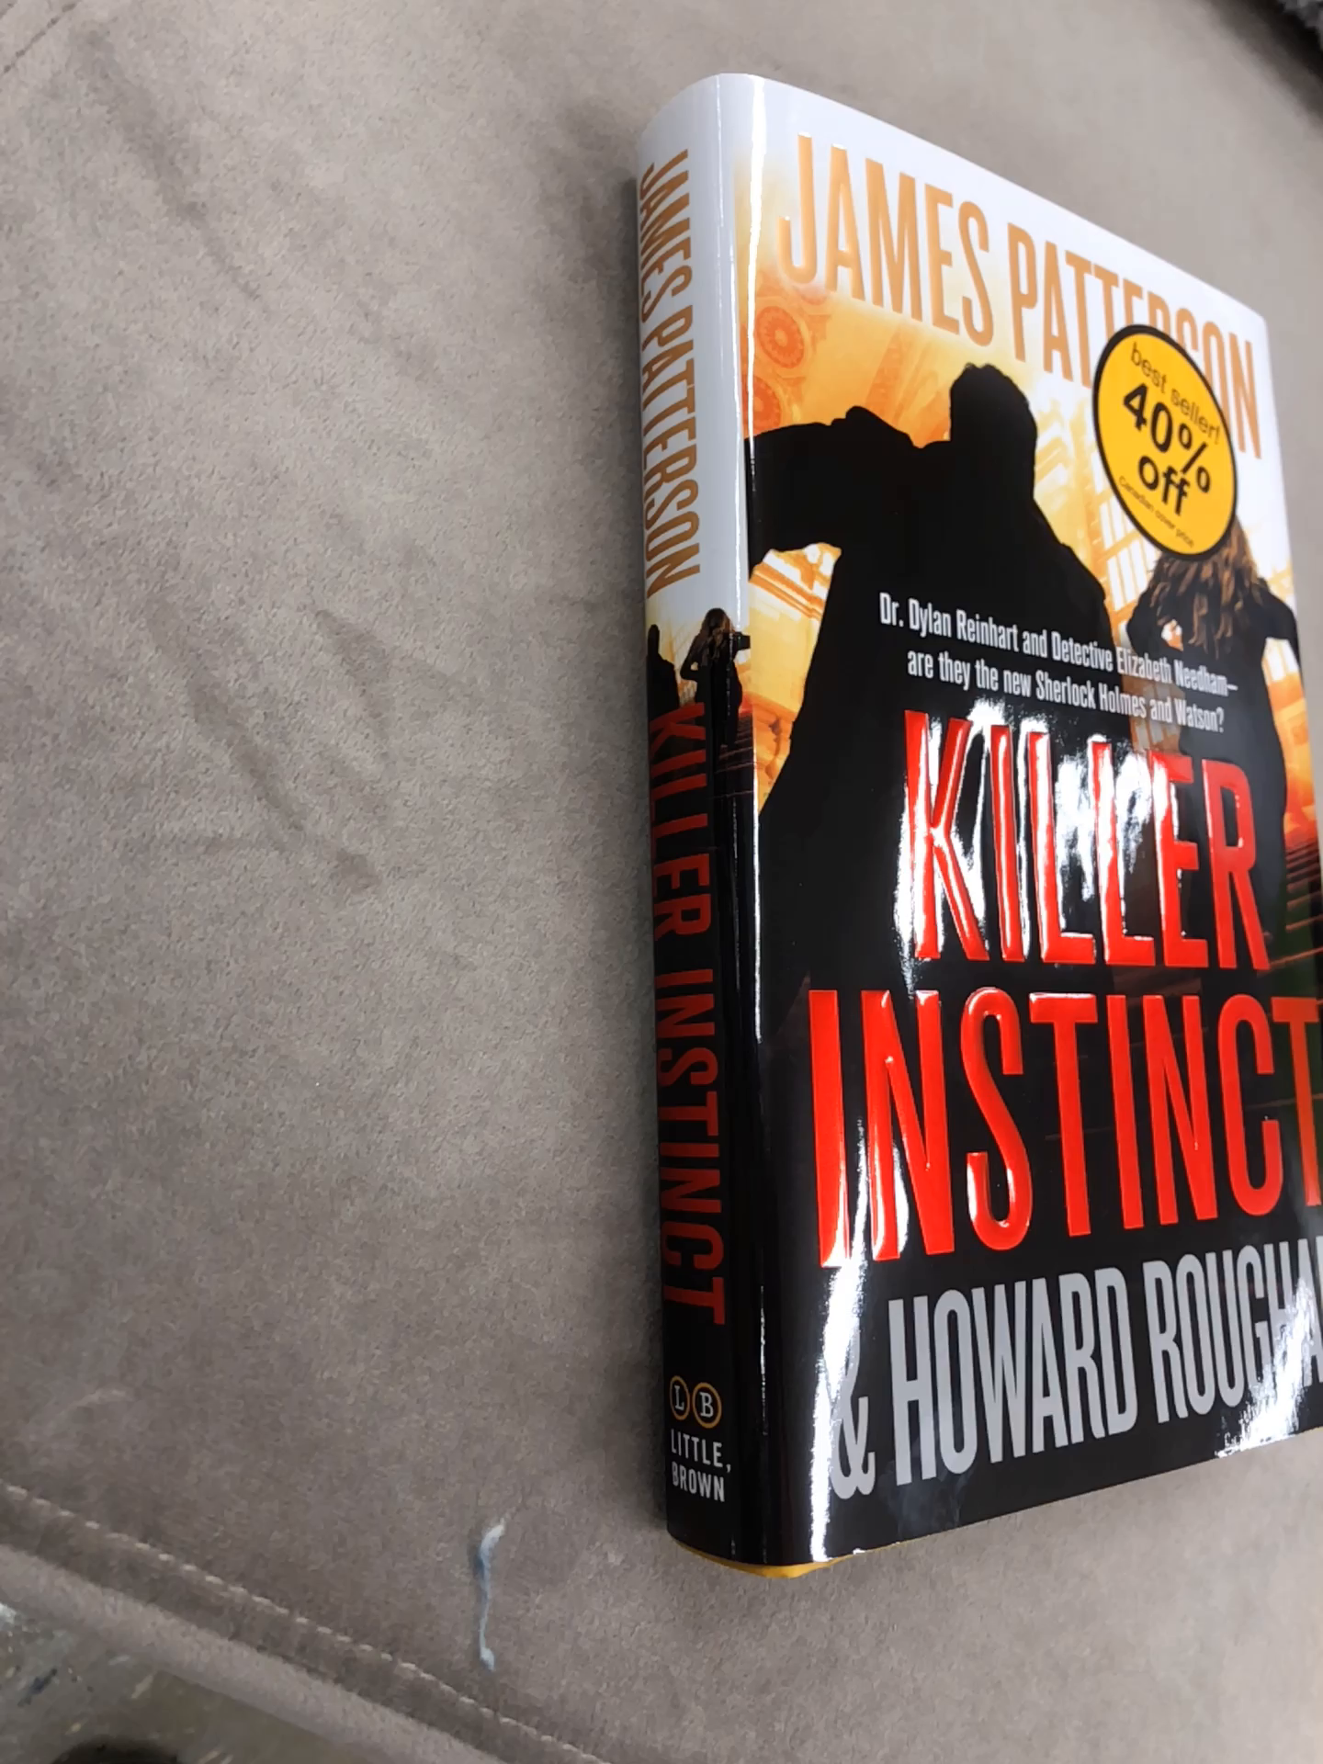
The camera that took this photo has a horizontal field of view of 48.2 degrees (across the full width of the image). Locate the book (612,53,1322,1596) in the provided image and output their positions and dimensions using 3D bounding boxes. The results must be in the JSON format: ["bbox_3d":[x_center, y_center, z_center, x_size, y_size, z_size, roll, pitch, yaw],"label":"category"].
[{"bbox_3d":[0.075,-0.009,0.289,0.173,0.038,0.237,4,80,-36],"label":"book"}]
